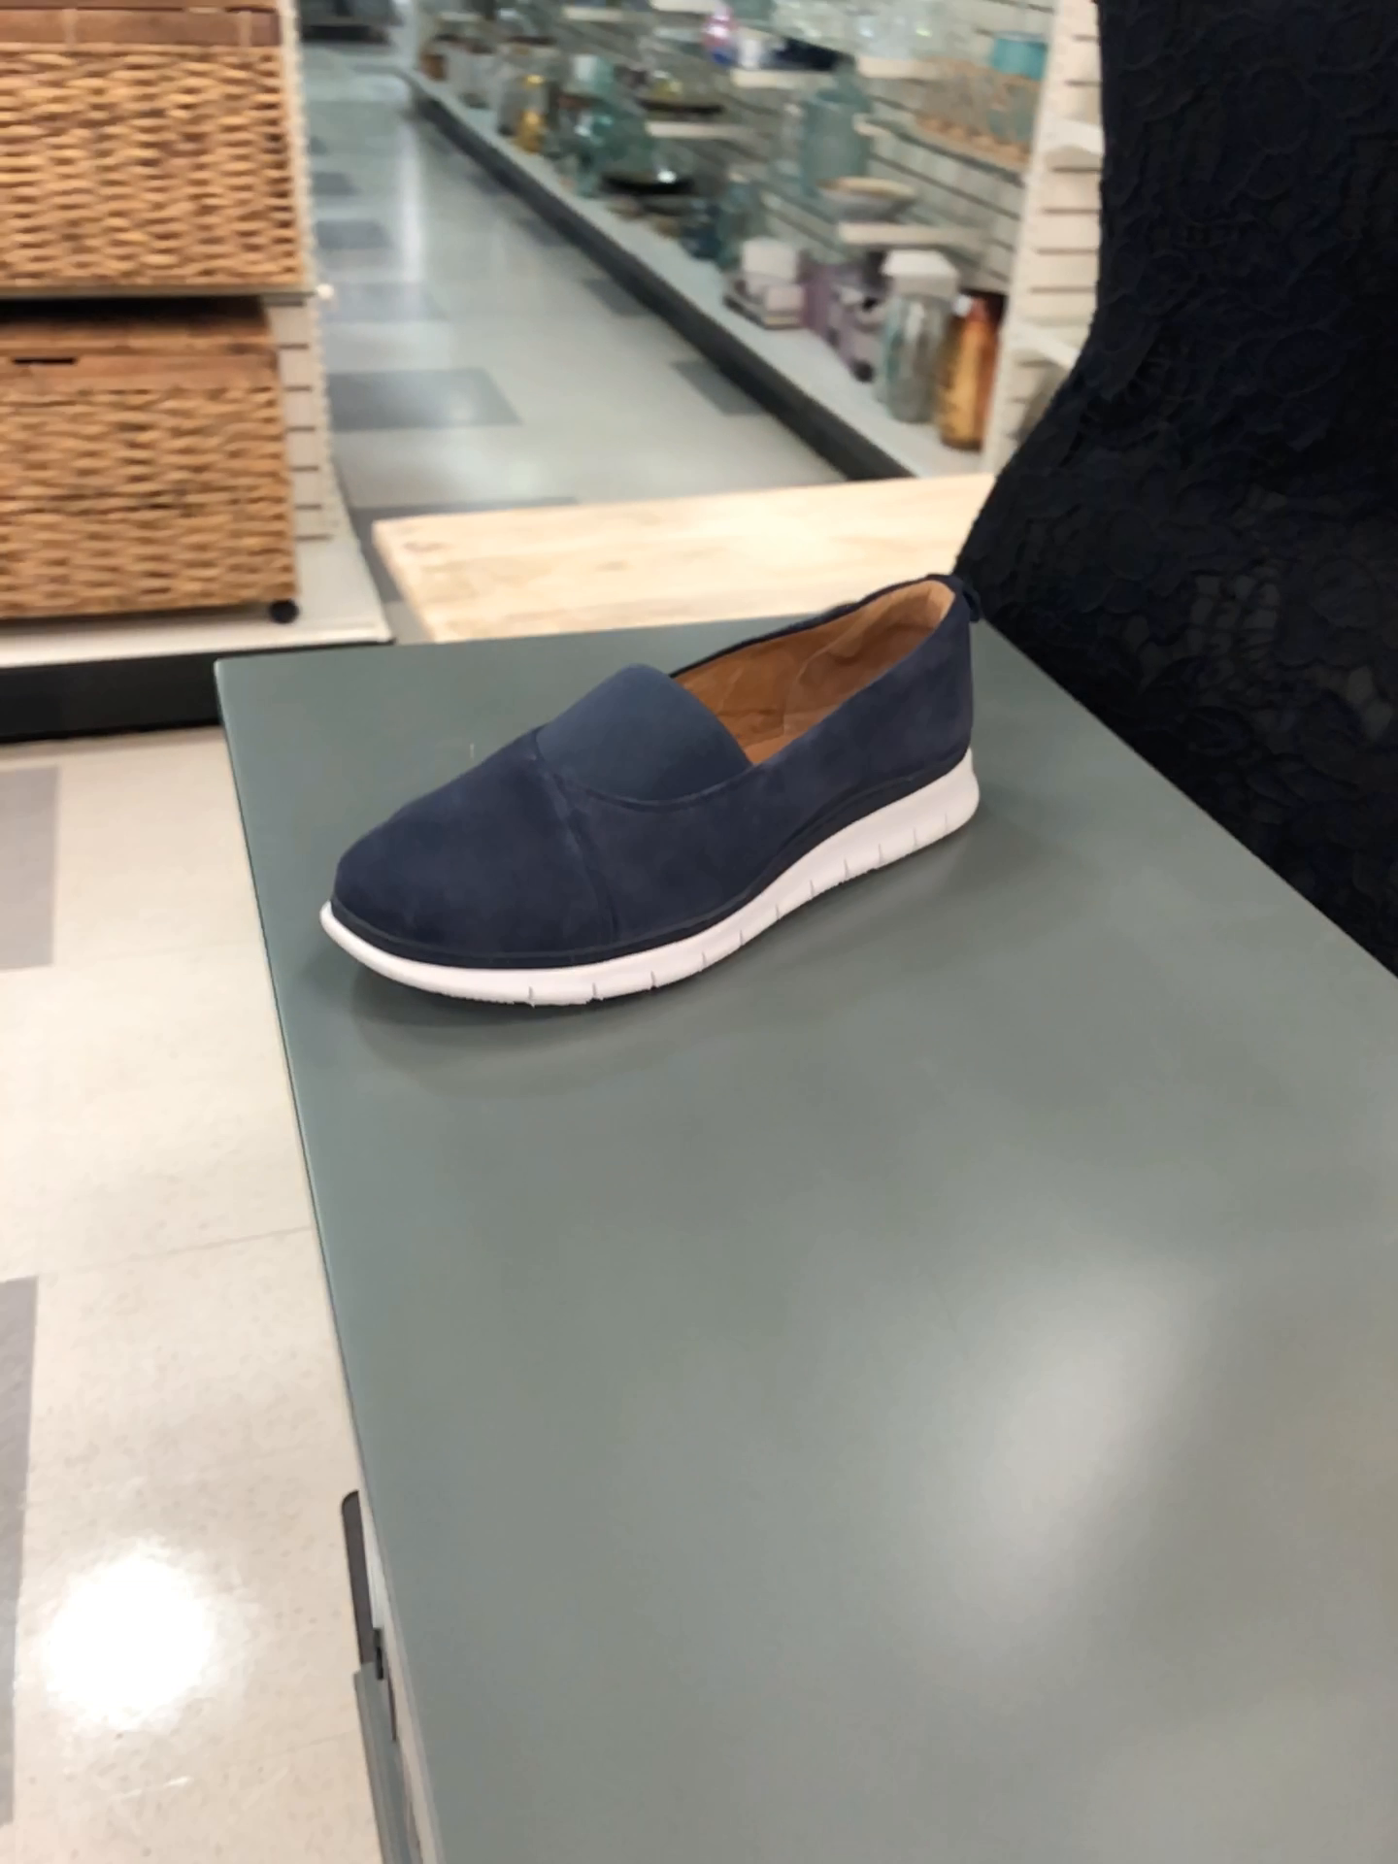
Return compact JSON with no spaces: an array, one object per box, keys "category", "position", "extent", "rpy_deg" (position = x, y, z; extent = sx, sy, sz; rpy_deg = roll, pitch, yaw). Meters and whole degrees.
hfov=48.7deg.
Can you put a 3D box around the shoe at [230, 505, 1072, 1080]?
[{"category":"shoe","position":[-0.009,-0.064,0.547],"extent":[0.271,0.102,0.110],"rpy_deg":[-21,40,-32]}]
